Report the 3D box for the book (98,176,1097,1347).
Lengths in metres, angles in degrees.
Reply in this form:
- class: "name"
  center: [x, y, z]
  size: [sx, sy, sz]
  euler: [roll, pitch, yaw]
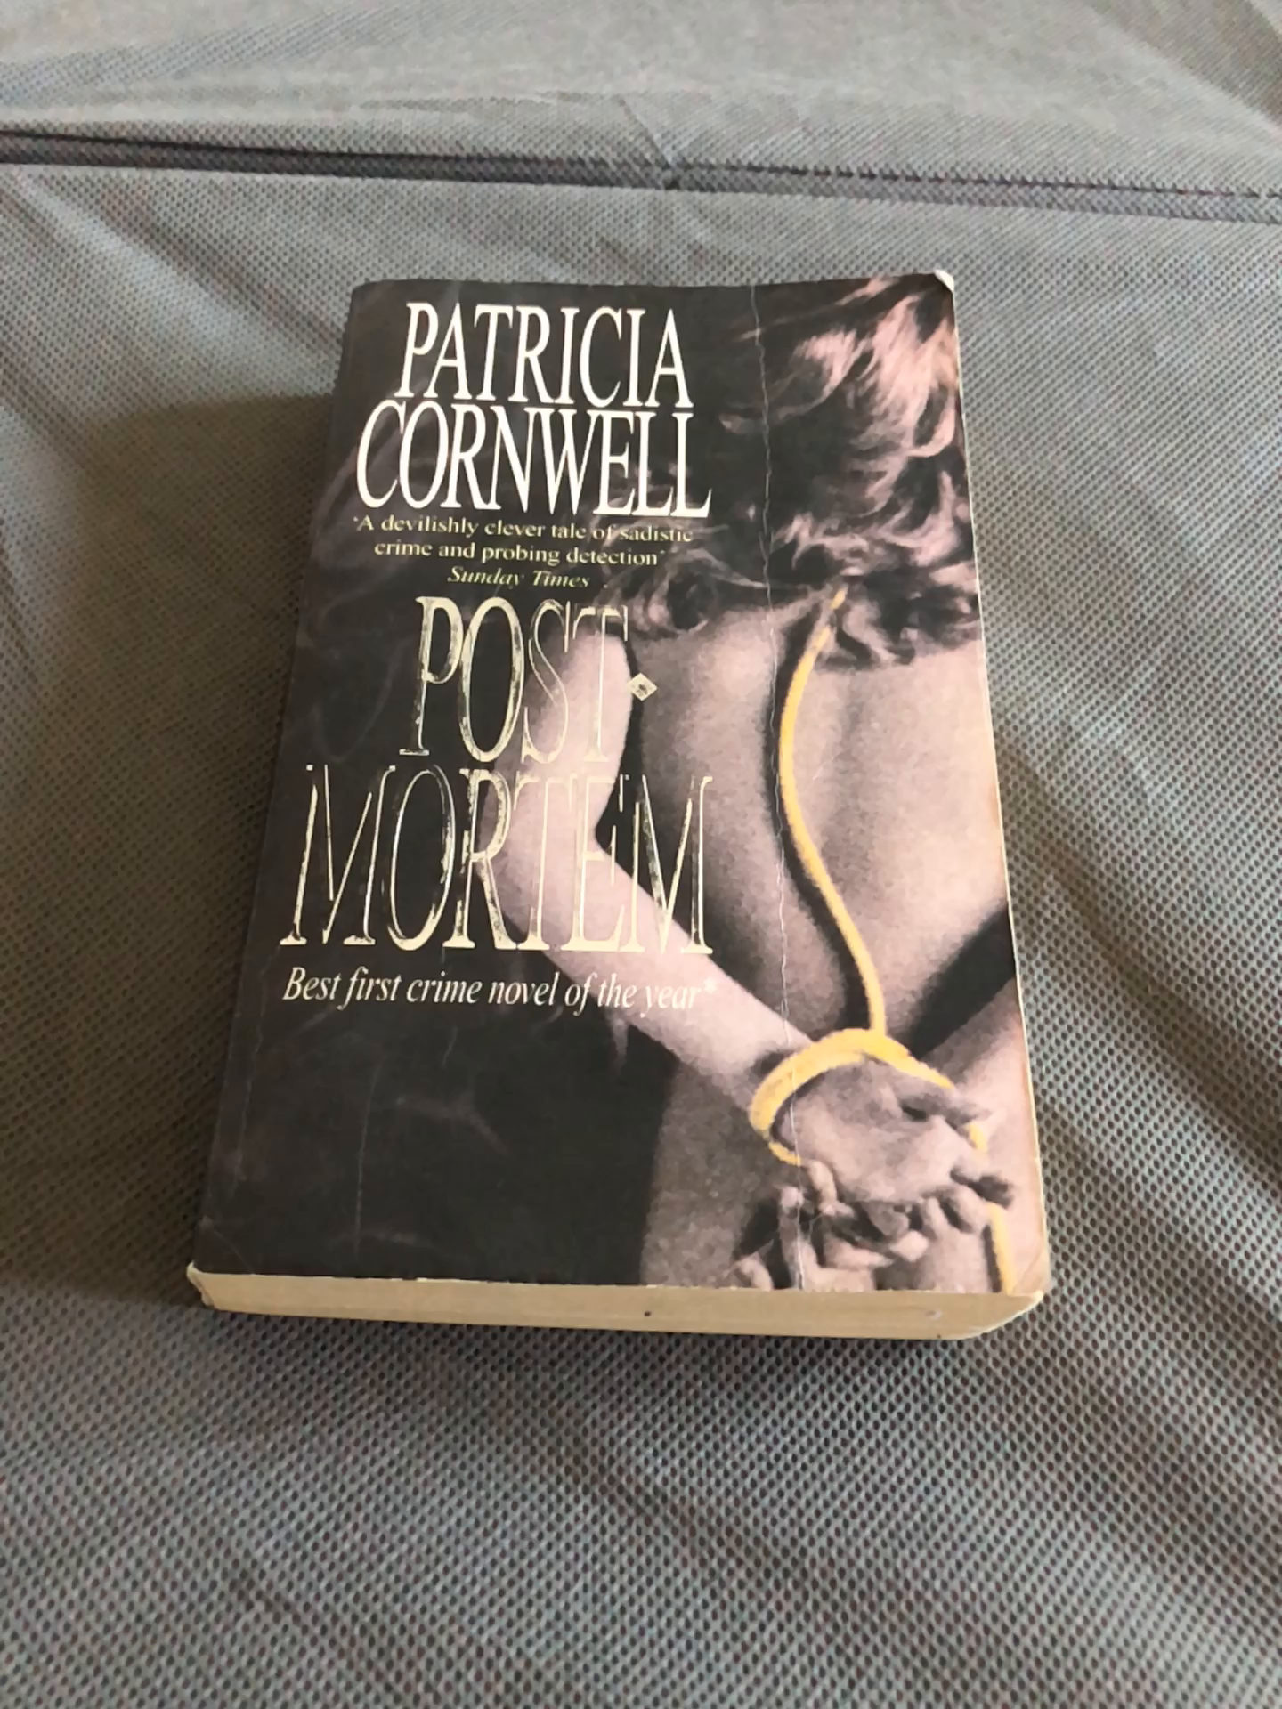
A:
- class: "book"
  center: [-0.003, -0.023, 0.223]
  size: [0.110, 0.050, 0.181]
  euler: [2, 61, -1]
